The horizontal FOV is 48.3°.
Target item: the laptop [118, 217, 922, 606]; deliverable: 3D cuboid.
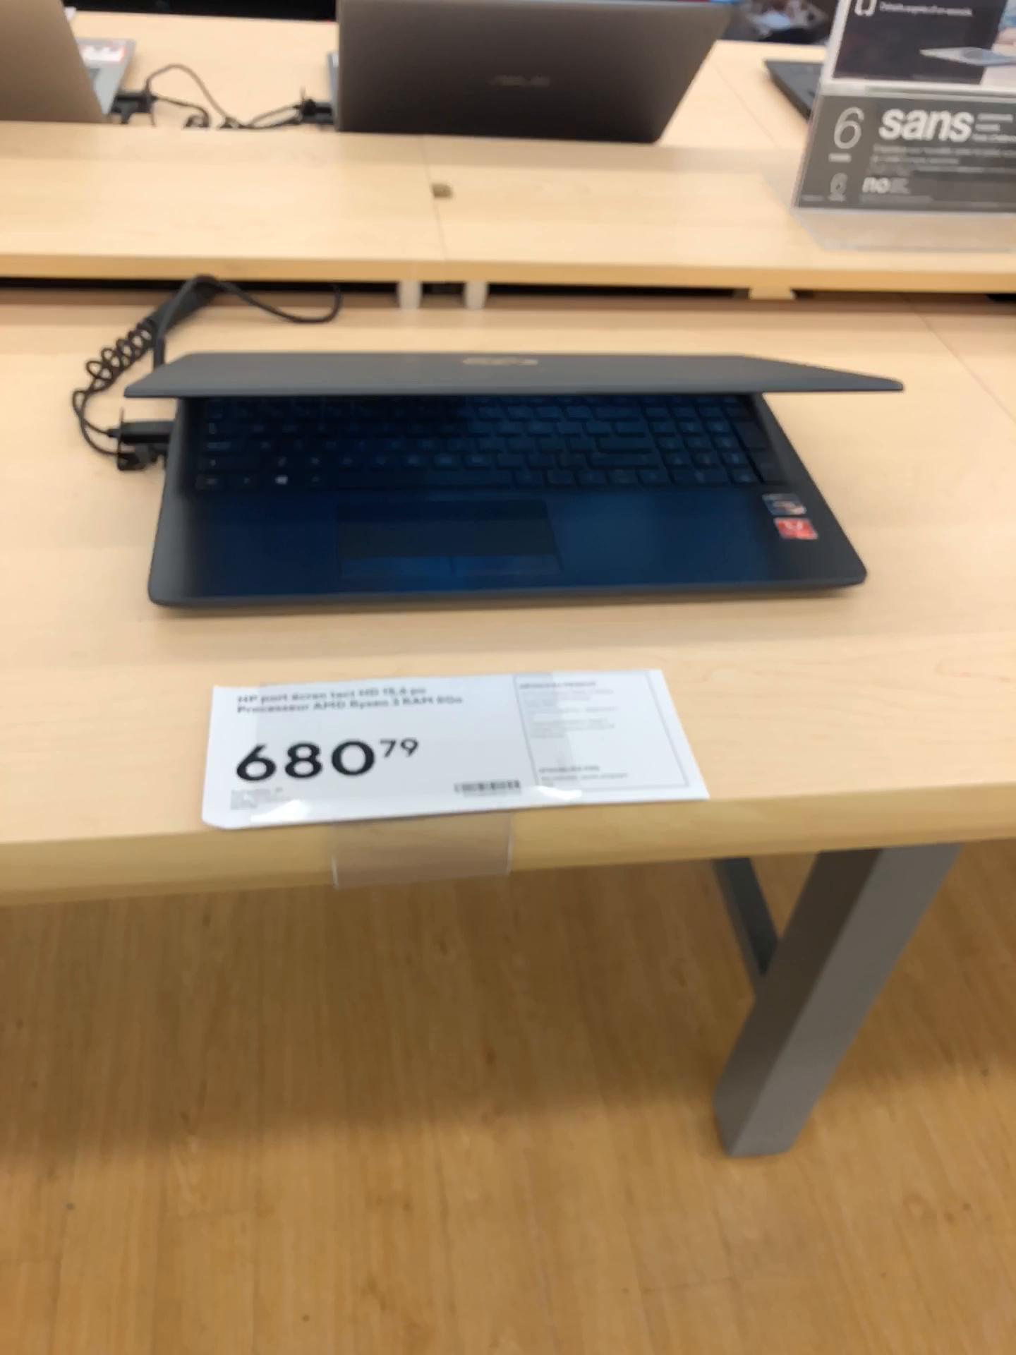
[{"bbox_3d":[-0.001,-0.158,0.623,0.366,0.090,0.243,-2,43,-10],"label":"laptop"}]
